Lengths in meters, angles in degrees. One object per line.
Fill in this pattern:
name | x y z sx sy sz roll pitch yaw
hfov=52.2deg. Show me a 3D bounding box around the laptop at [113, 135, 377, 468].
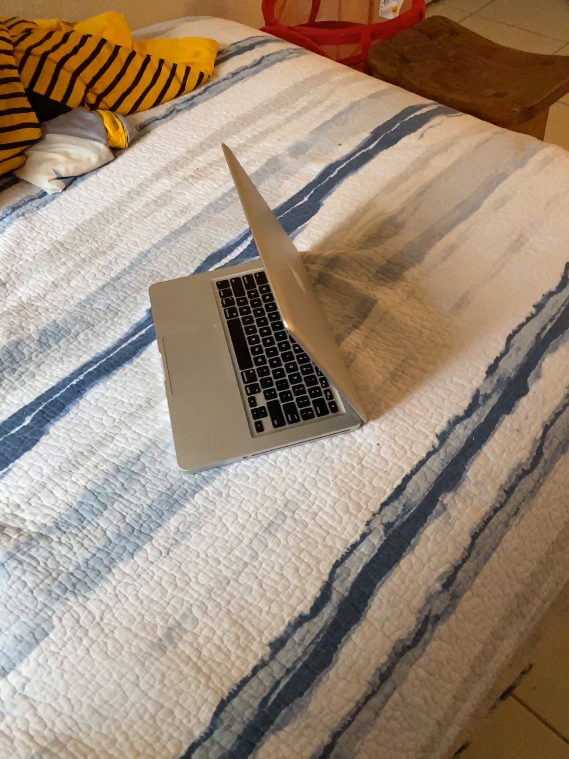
laptop | -0.058 -0.101 0.695 0.220 0.191 0.316 -14 53 -6
